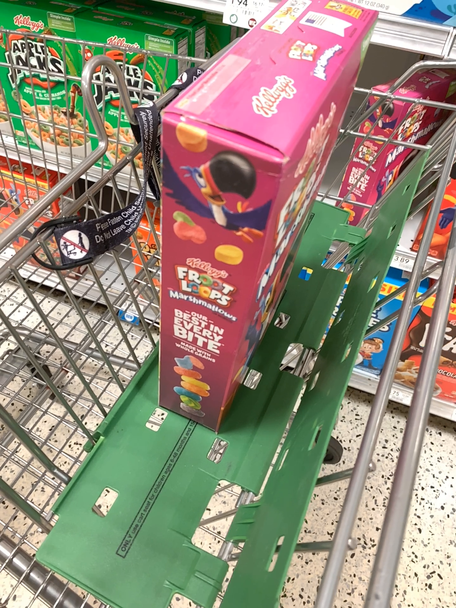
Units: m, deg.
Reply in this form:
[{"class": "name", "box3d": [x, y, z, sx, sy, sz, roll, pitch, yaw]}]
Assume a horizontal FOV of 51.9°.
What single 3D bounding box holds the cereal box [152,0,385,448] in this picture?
[{"class": "cereal box", "box3d": [0.017, -0.045, 0.359, 0.060, 0.287, 0.202, 22, 52, 9]}]
